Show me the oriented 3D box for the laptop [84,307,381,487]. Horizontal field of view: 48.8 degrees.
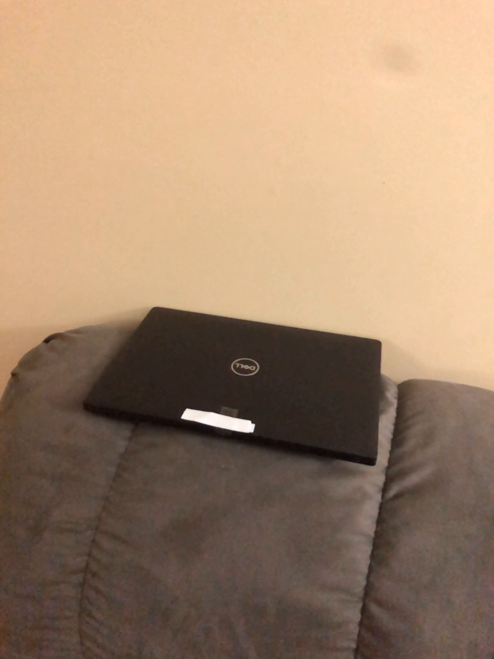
[{"bbox_3d":[-0.004,0.065,0.675,0.326,0.030,0.215,9,34,12],"label":"laptop"}]
